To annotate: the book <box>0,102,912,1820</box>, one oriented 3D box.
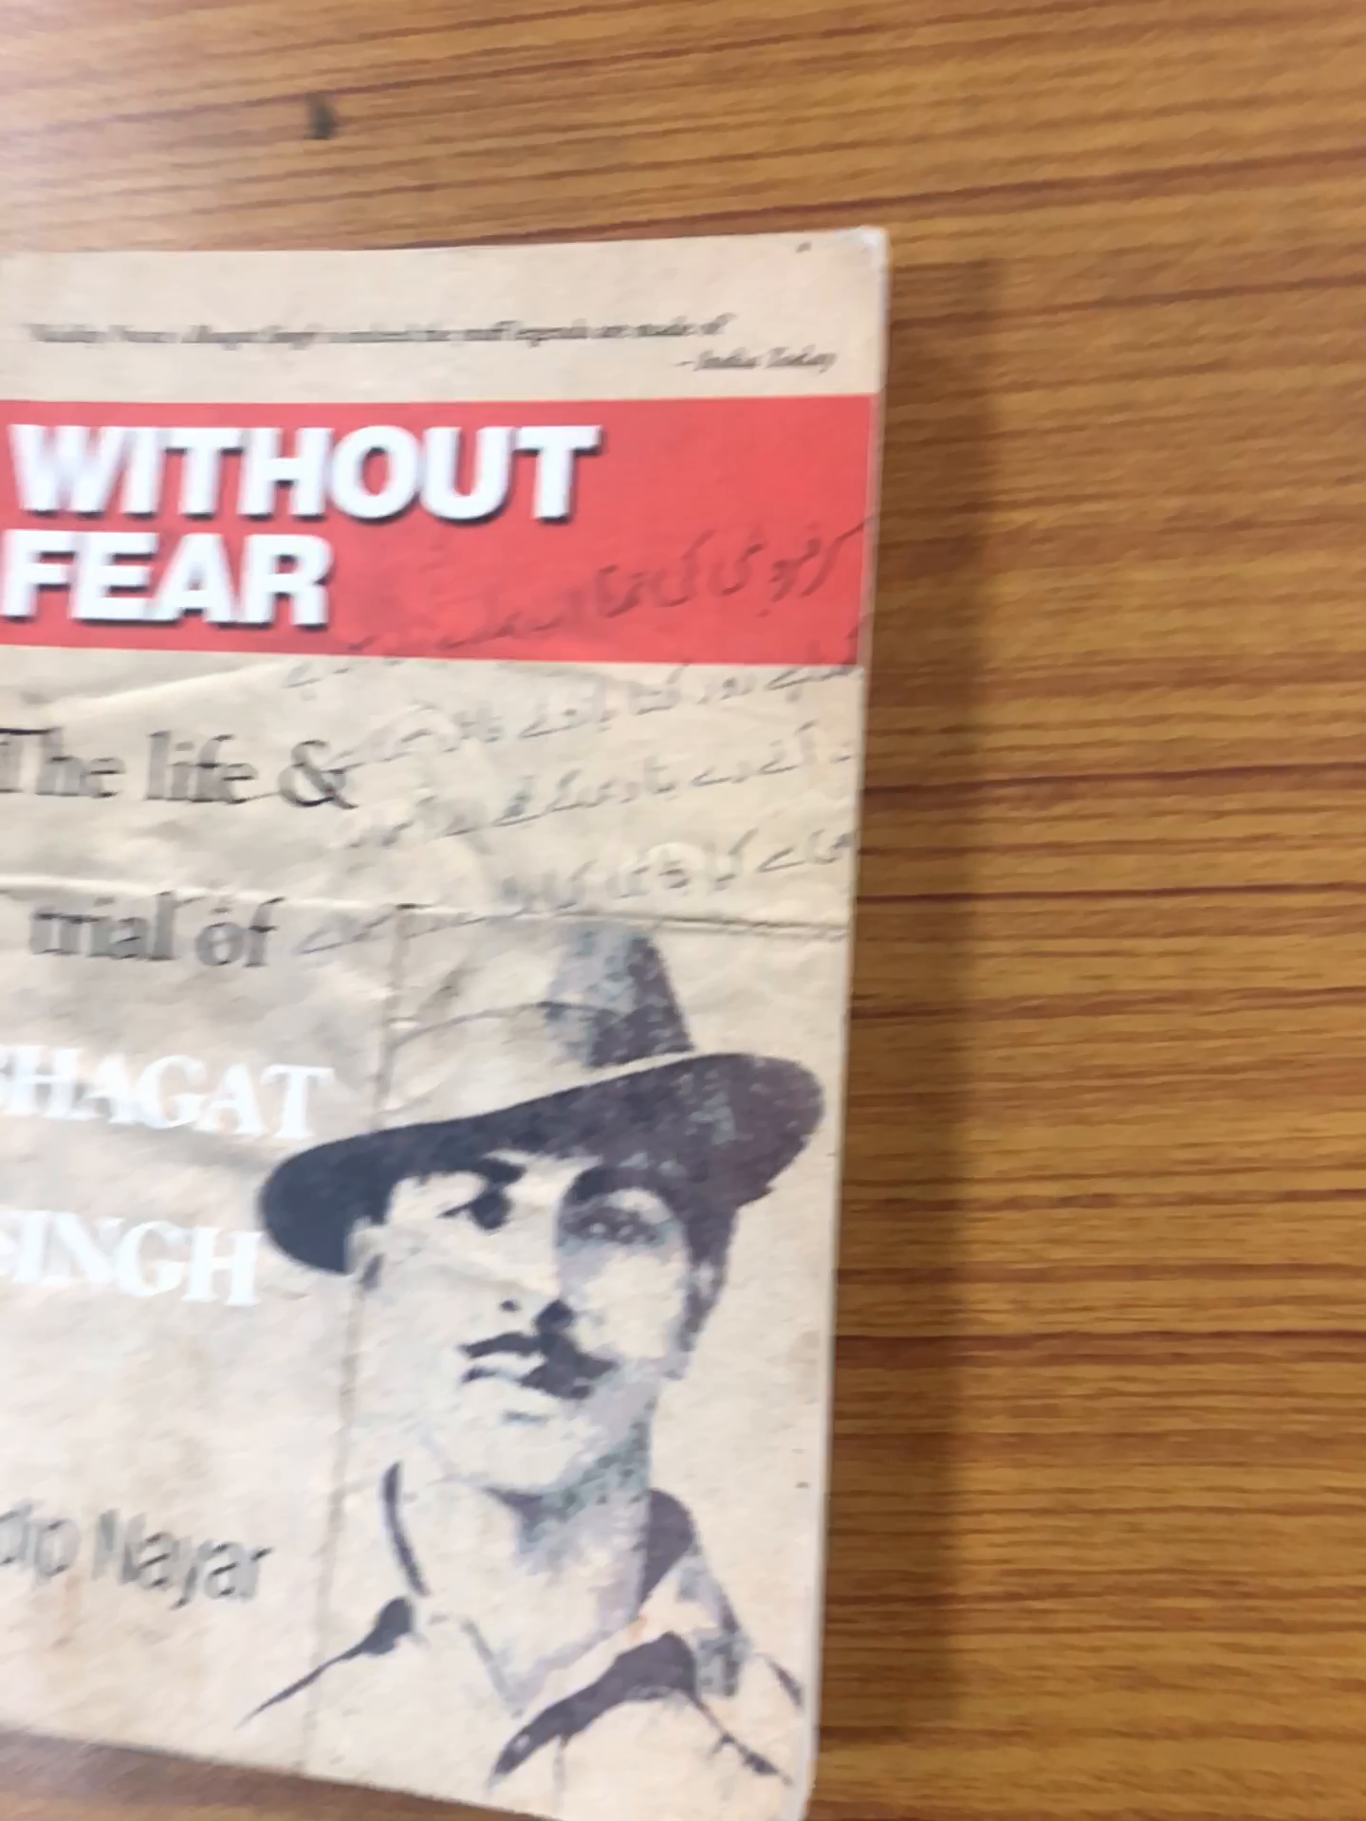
[{"bbox_3d":[-0.046,0.004,0.204,0.140,0.030,0.210,3,84,11],"label":"book"}]
